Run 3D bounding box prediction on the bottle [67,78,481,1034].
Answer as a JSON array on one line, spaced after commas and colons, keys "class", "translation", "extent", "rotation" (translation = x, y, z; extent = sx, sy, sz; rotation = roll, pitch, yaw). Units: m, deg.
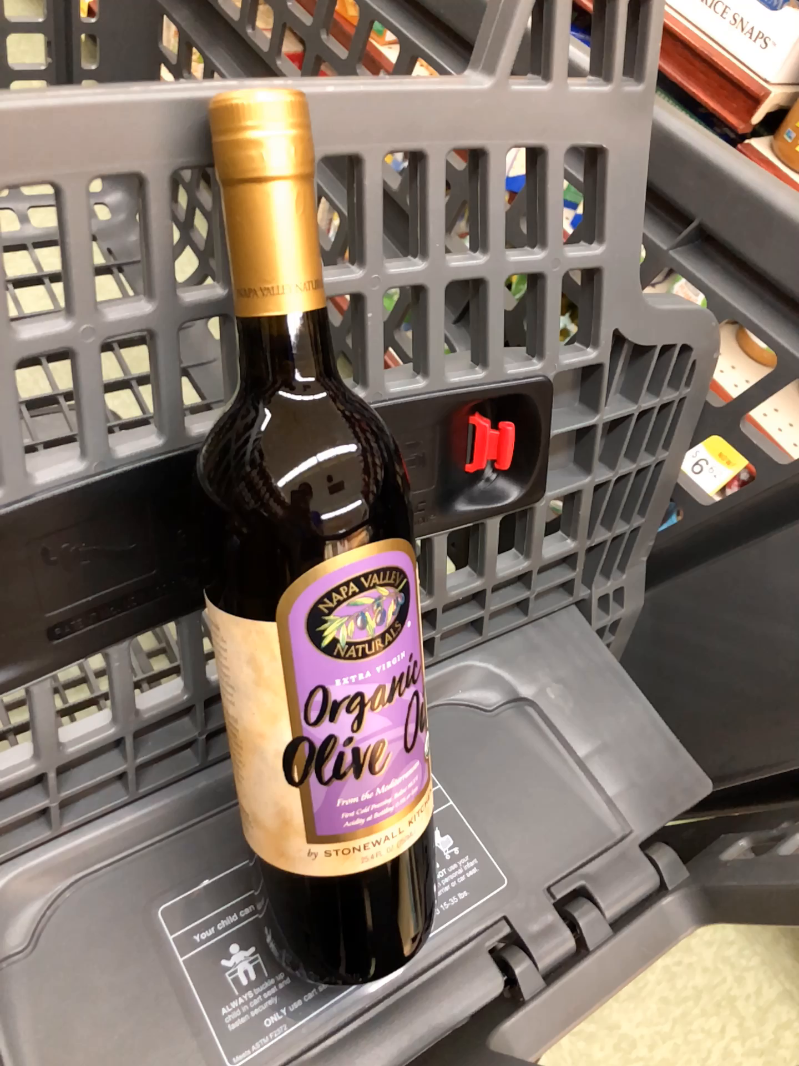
[{"class": "bottle", "translation": [-0.034, 0.015, 0.307], "extent": [0.080, 0.300, 0.080], "rotation": [-4, 21, 1]}]
